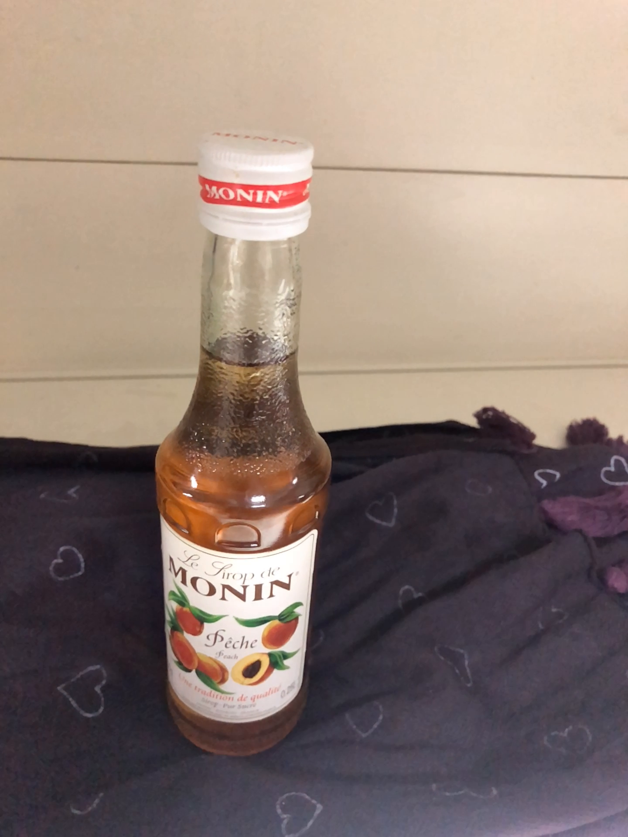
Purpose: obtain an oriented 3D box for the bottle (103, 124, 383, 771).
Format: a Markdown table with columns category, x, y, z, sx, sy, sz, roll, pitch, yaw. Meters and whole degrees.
| category | x | y | z | sx | sy | sz | roll | pitch | yaw |
| --- | --- | --- | --- | --- | --- | --- | --- | --- | --- |
| bottle | -0.021 | 0.020 | 0.236 | 0.060 | 0.209 | 0.060 | 3 | 29 | -2 |
